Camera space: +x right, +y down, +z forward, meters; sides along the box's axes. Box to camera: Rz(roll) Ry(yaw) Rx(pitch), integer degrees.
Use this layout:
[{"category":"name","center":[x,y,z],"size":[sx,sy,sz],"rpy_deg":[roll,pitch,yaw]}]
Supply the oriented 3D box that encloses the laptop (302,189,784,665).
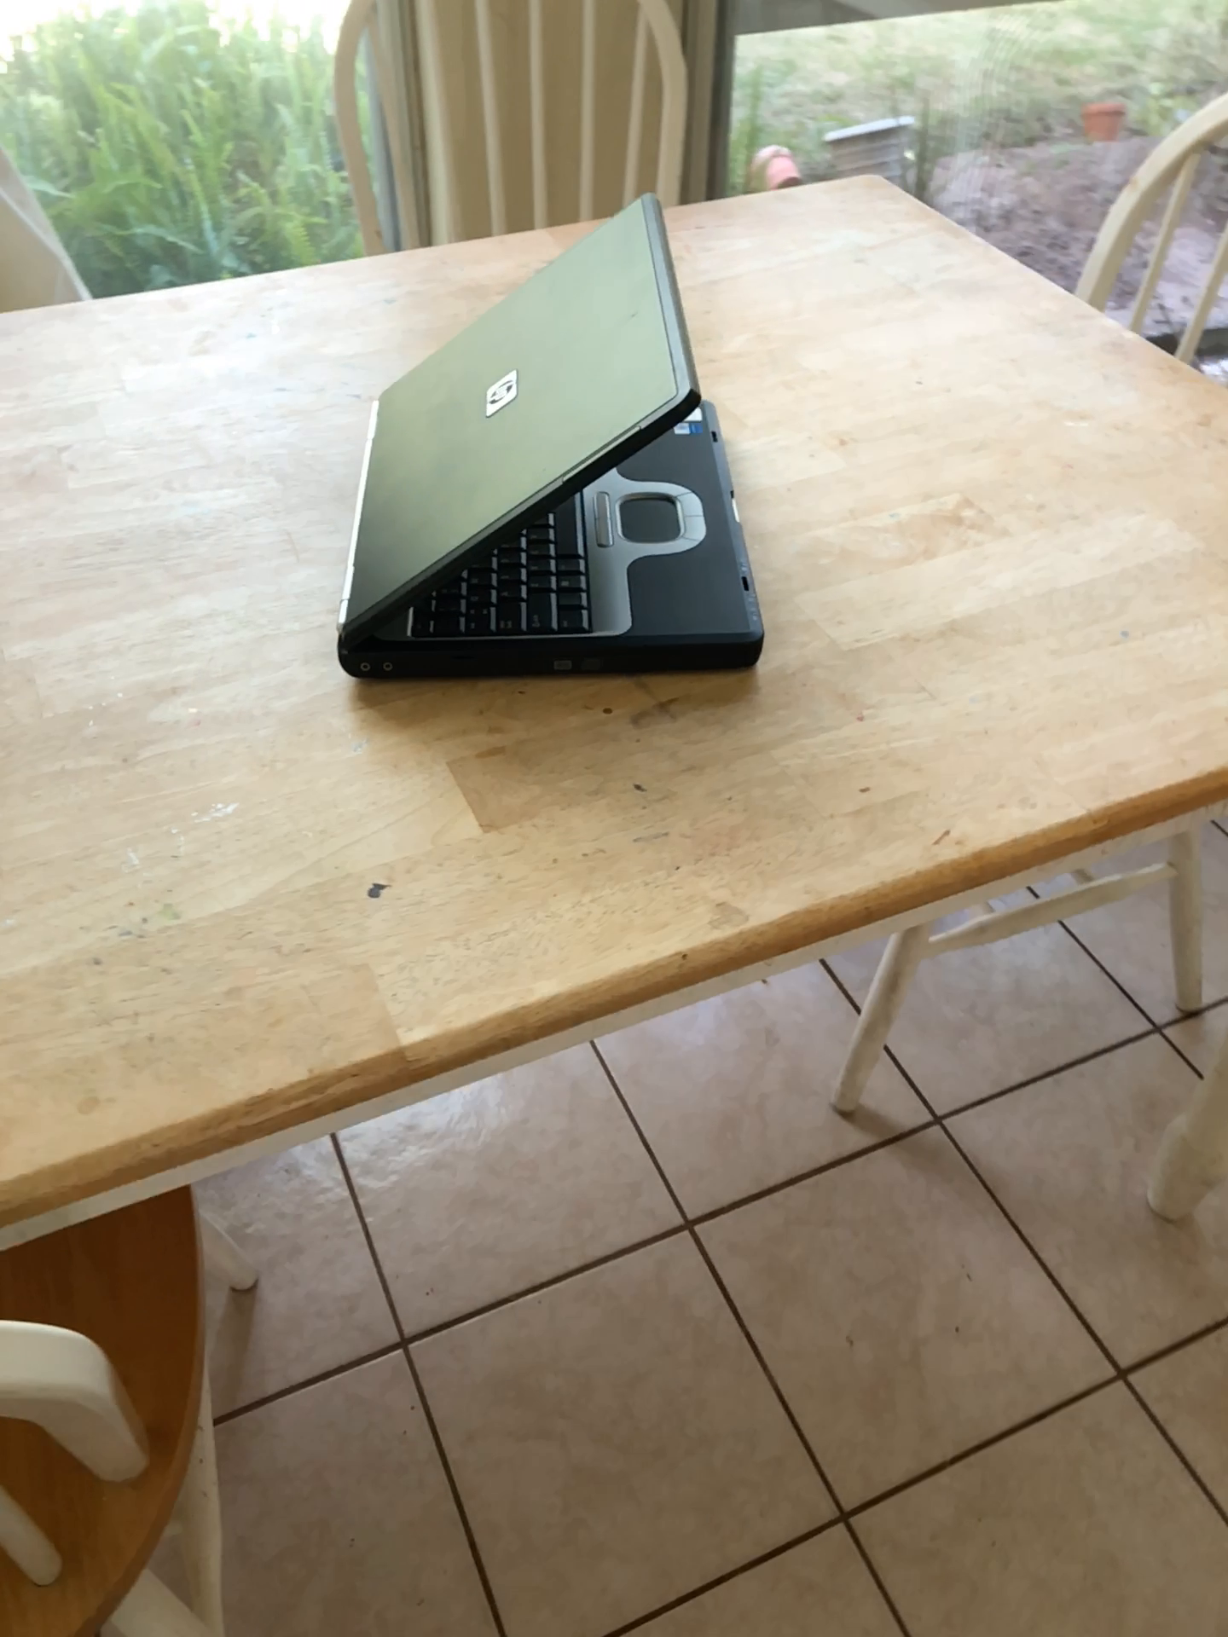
[{"category":"laptop","center":[-0.047,-0.265,0.879],"size":[0.255,0.162,0.307],"rpy_deg":[-3,44,-1]}]
